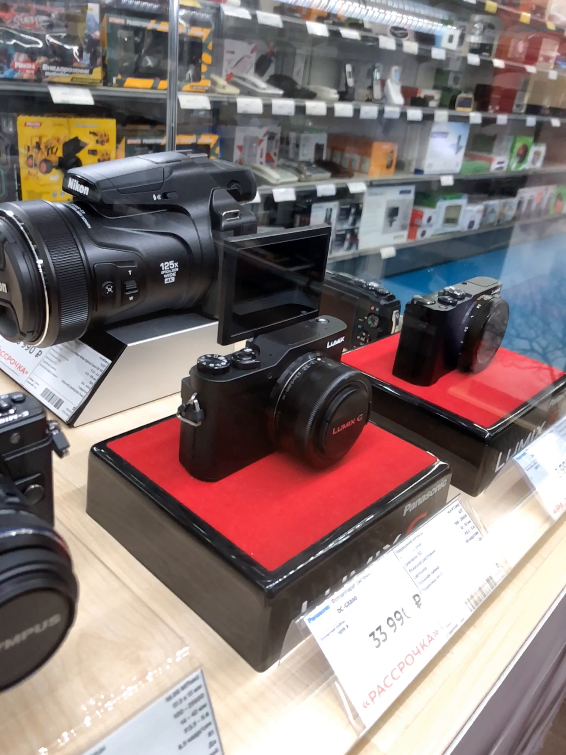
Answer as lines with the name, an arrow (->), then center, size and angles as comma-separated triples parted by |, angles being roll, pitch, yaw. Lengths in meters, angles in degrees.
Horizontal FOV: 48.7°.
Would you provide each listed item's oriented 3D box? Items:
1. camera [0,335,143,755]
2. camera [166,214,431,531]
camera -> -0.122, 0.051, 0.204 | 0.103, 0.080, 0.108 | 27, 32, 36
camera -> 0.007, -0.011, 0.319 | 0.070, 0.120, 0.108 | 24, 30, 32
